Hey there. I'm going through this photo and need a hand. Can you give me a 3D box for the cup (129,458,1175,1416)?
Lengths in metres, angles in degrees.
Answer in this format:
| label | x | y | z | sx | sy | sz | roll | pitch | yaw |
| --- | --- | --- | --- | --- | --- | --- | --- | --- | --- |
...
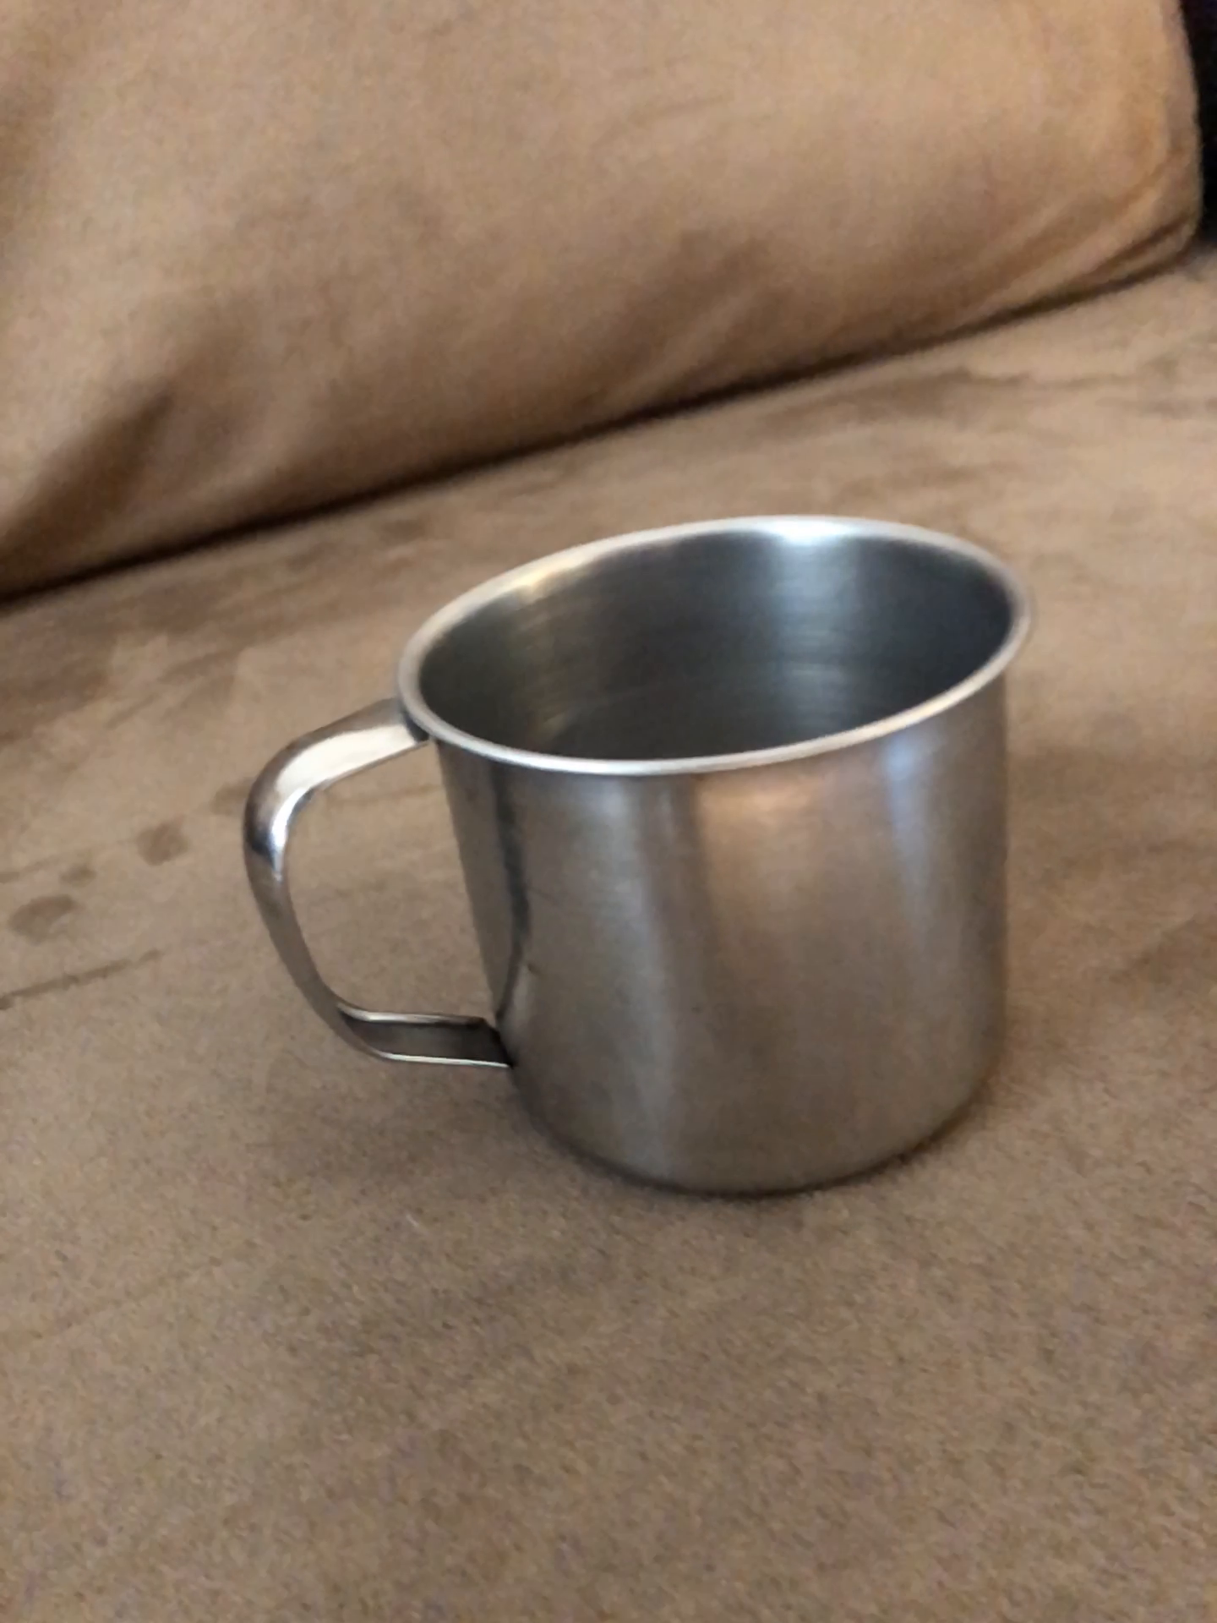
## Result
| label | x | y | z | sx | sy | sz | roll | pitch | yaw |
| --- | --- | --- | --- | --- | --- | --- | --- | --- | --- |
| cup | 0.003 | 0.005 | 0.196 | 0.110 | 0.070 | 0.090 | -19 | 30 | -18 |
